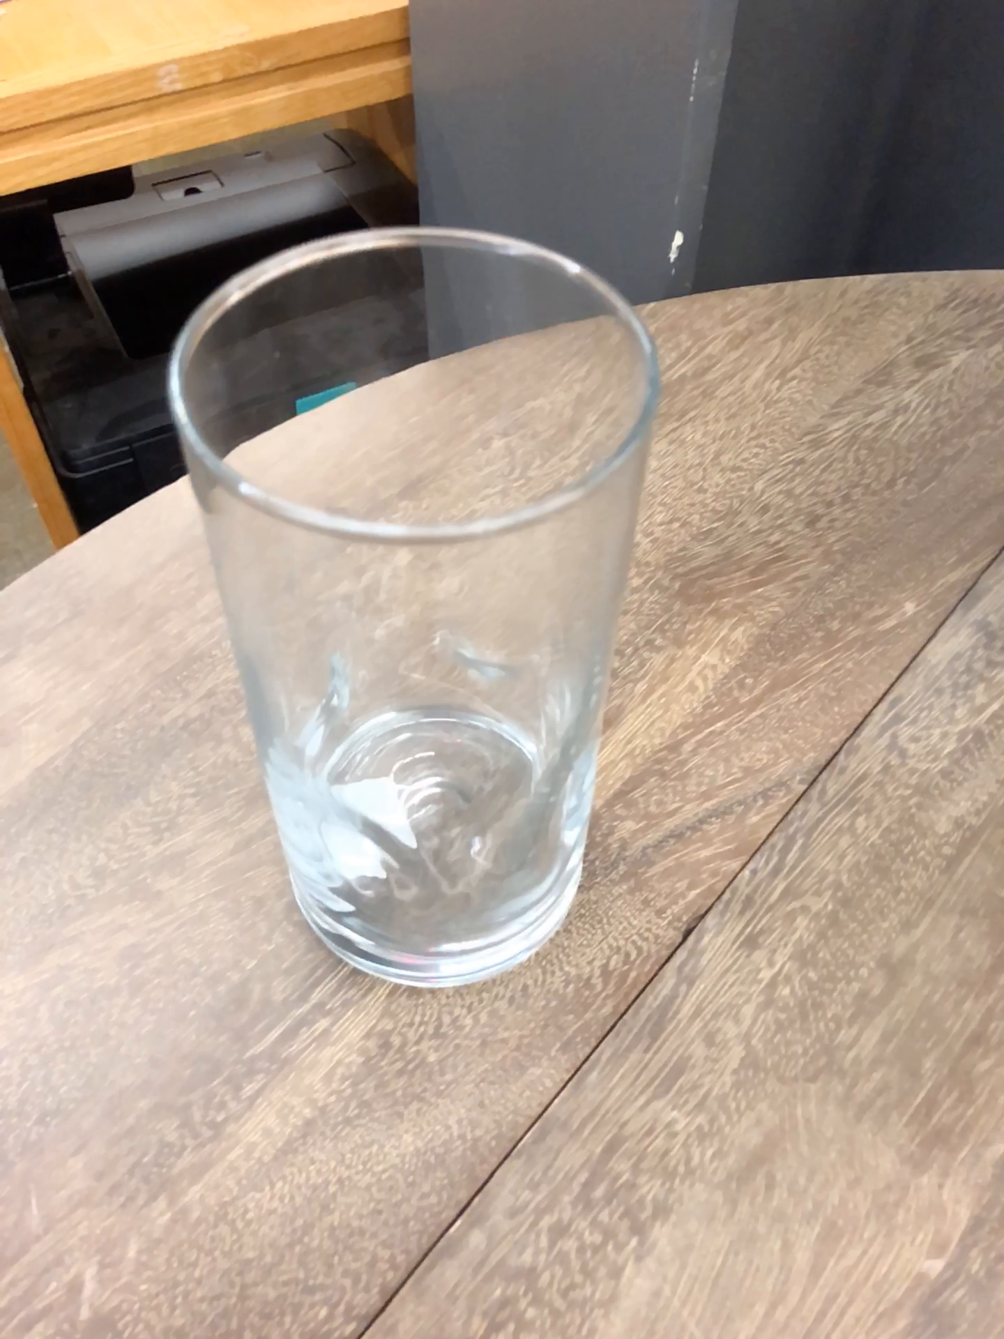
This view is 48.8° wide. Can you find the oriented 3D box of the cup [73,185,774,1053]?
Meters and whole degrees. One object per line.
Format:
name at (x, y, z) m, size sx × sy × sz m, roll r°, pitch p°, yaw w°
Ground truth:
cup at (-0.017, -0.001, 0.221) m, size 0.081 × 0.144 × 0.078 m, roll 1°, pitch 51°, yaw -1°
